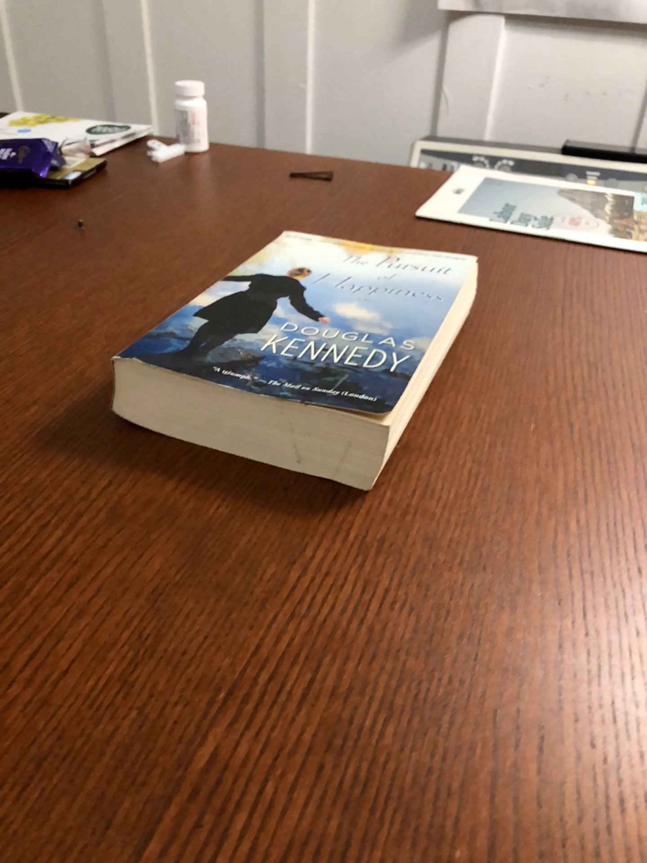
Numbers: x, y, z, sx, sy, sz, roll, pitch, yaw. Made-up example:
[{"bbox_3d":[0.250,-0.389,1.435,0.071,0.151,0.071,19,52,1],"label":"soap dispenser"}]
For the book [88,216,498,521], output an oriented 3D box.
[{"bbox_3d":[0.002,-0.060,0.433,0.160,0.050,0.241,13,35,15],"label":"book"}]
